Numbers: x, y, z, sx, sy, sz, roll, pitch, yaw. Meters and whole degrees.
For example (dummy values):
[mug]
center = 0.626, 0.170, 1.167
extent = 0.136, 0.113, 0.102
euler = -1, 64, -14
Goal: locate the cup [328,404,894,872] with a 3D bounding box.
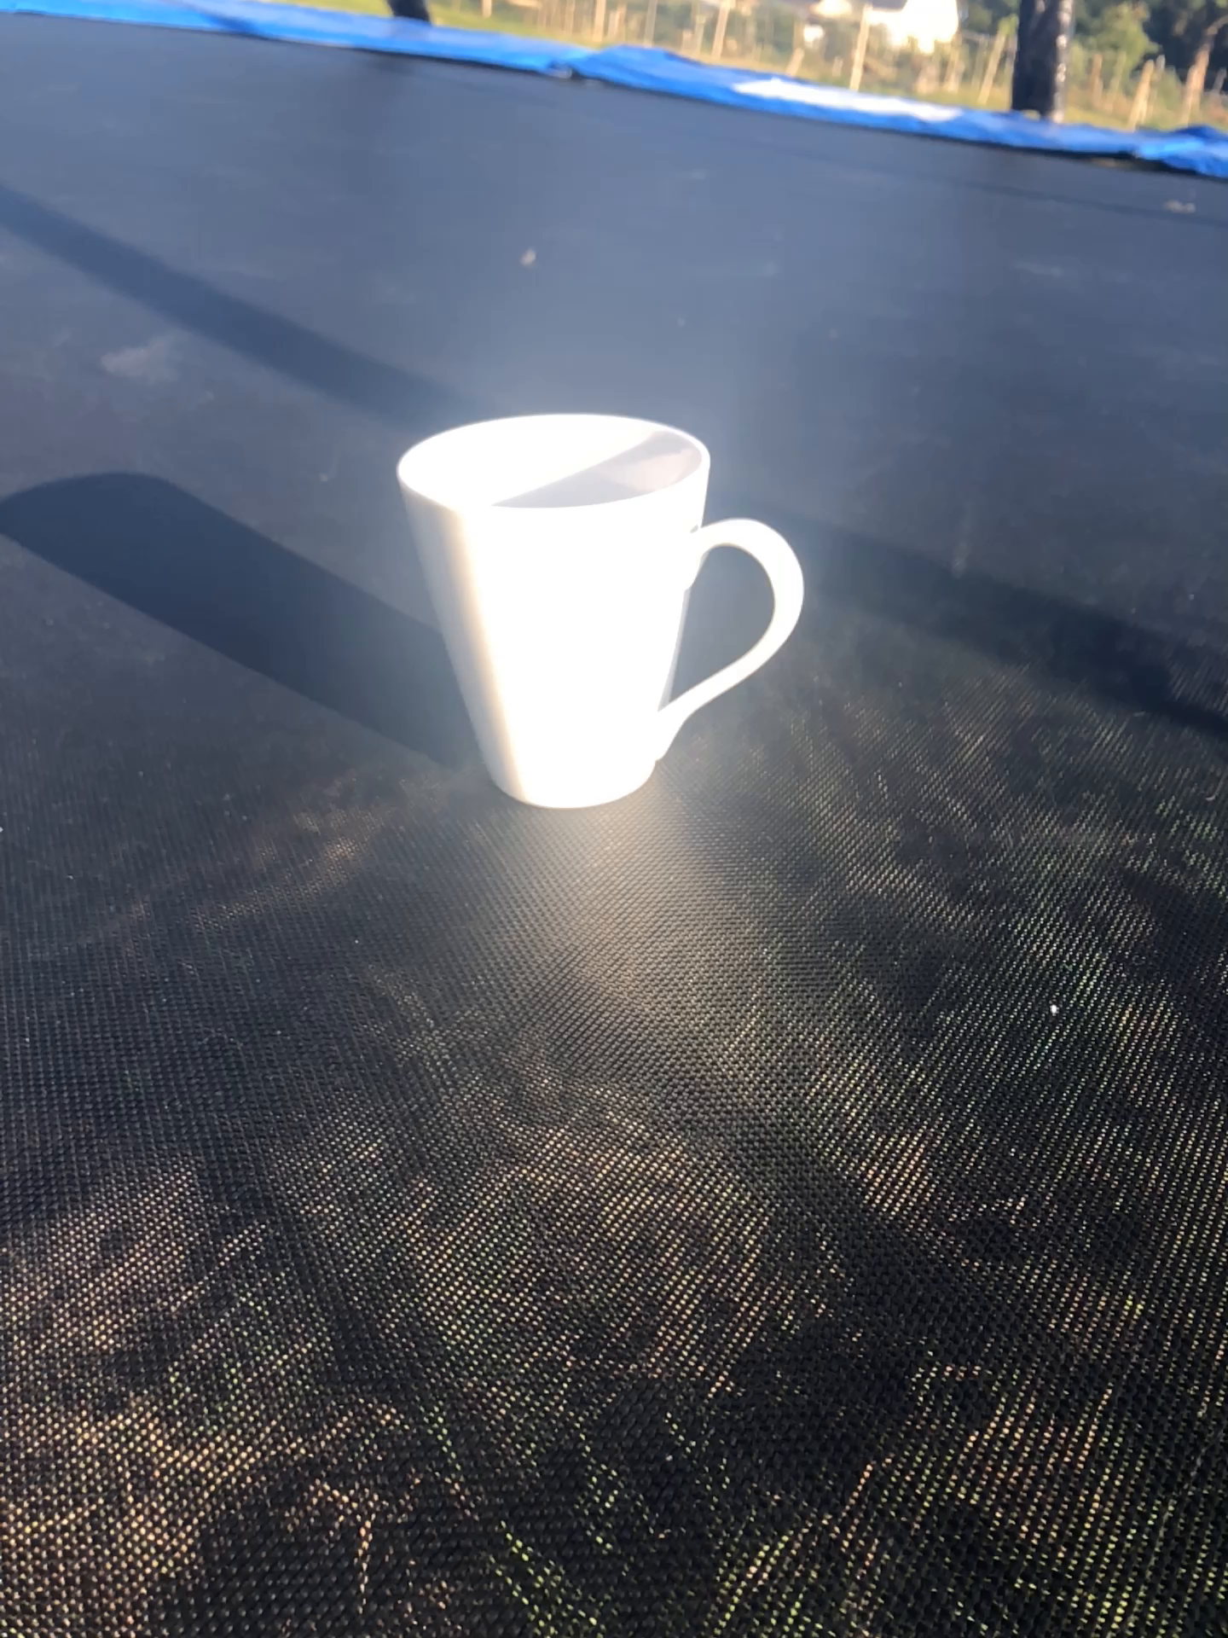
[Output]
[cup]
center = 0.003, -0.062, 0.409
extent = 0.129, 0.094, 0.098
euler = 14, 33, 28
